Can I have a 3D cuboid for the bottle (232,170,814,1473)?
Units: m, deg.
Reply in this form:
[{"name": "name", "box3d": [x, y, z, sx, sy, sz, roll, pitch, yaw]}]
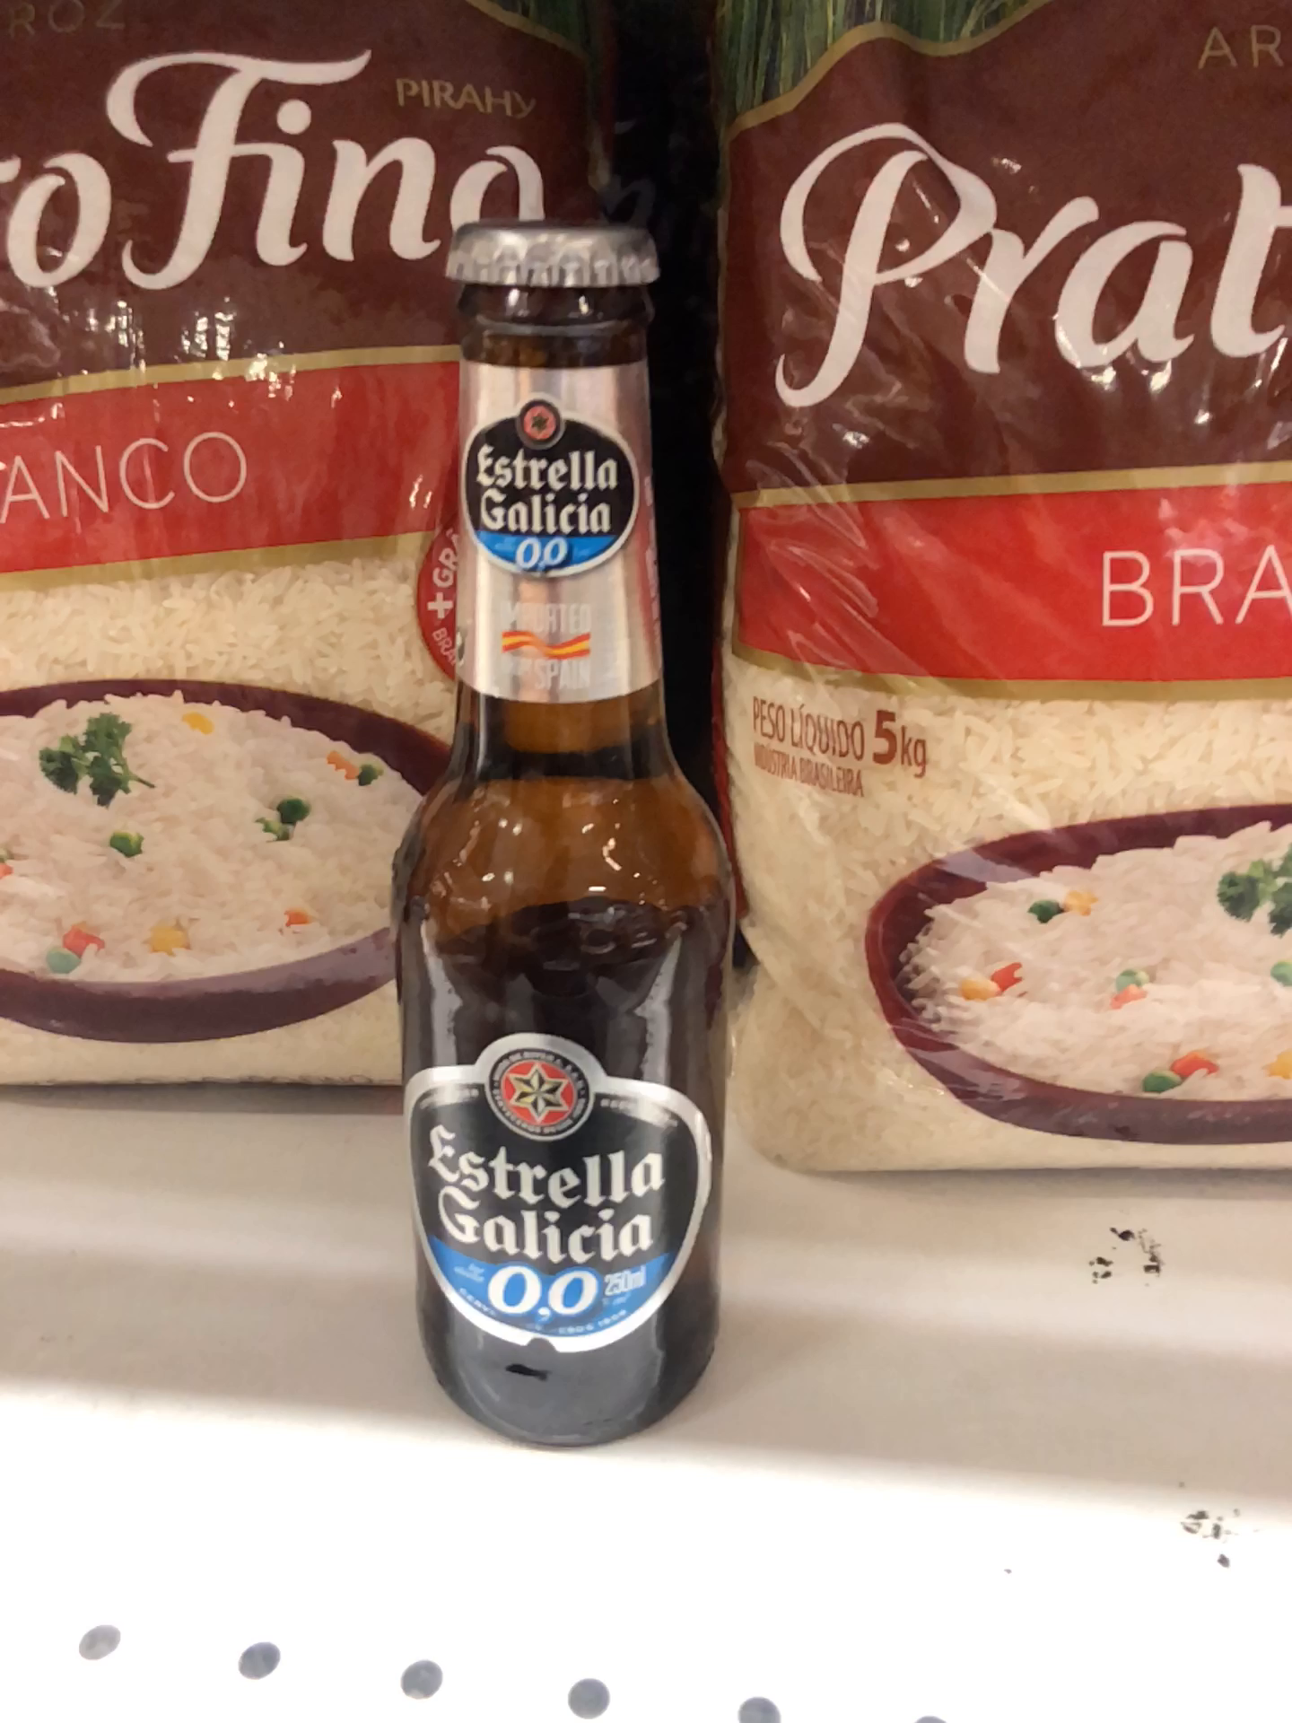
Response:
[{"name": "bottle", "box3d": [-0.013, -0.001, 0.223, 0.060, 0.189, 0.060, 1, 26, 0]}]
